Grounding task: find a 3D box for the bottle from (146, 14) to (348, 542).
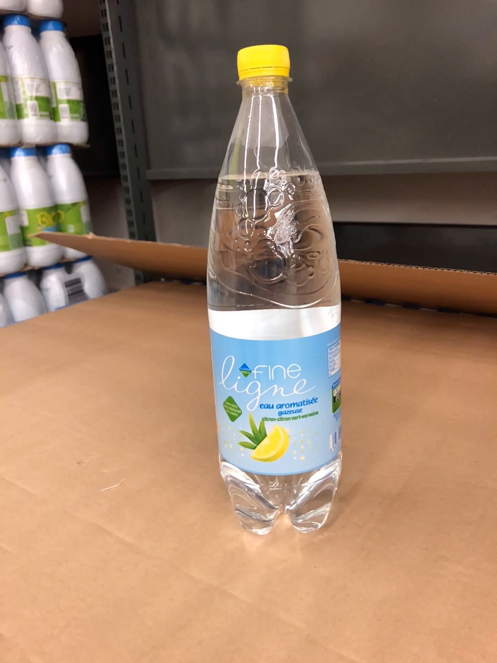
[{"bbox_3d":[0.012,-0.021,0.342,0.090,0.289,0.080,0,18,14],"label":"bottle"}]
